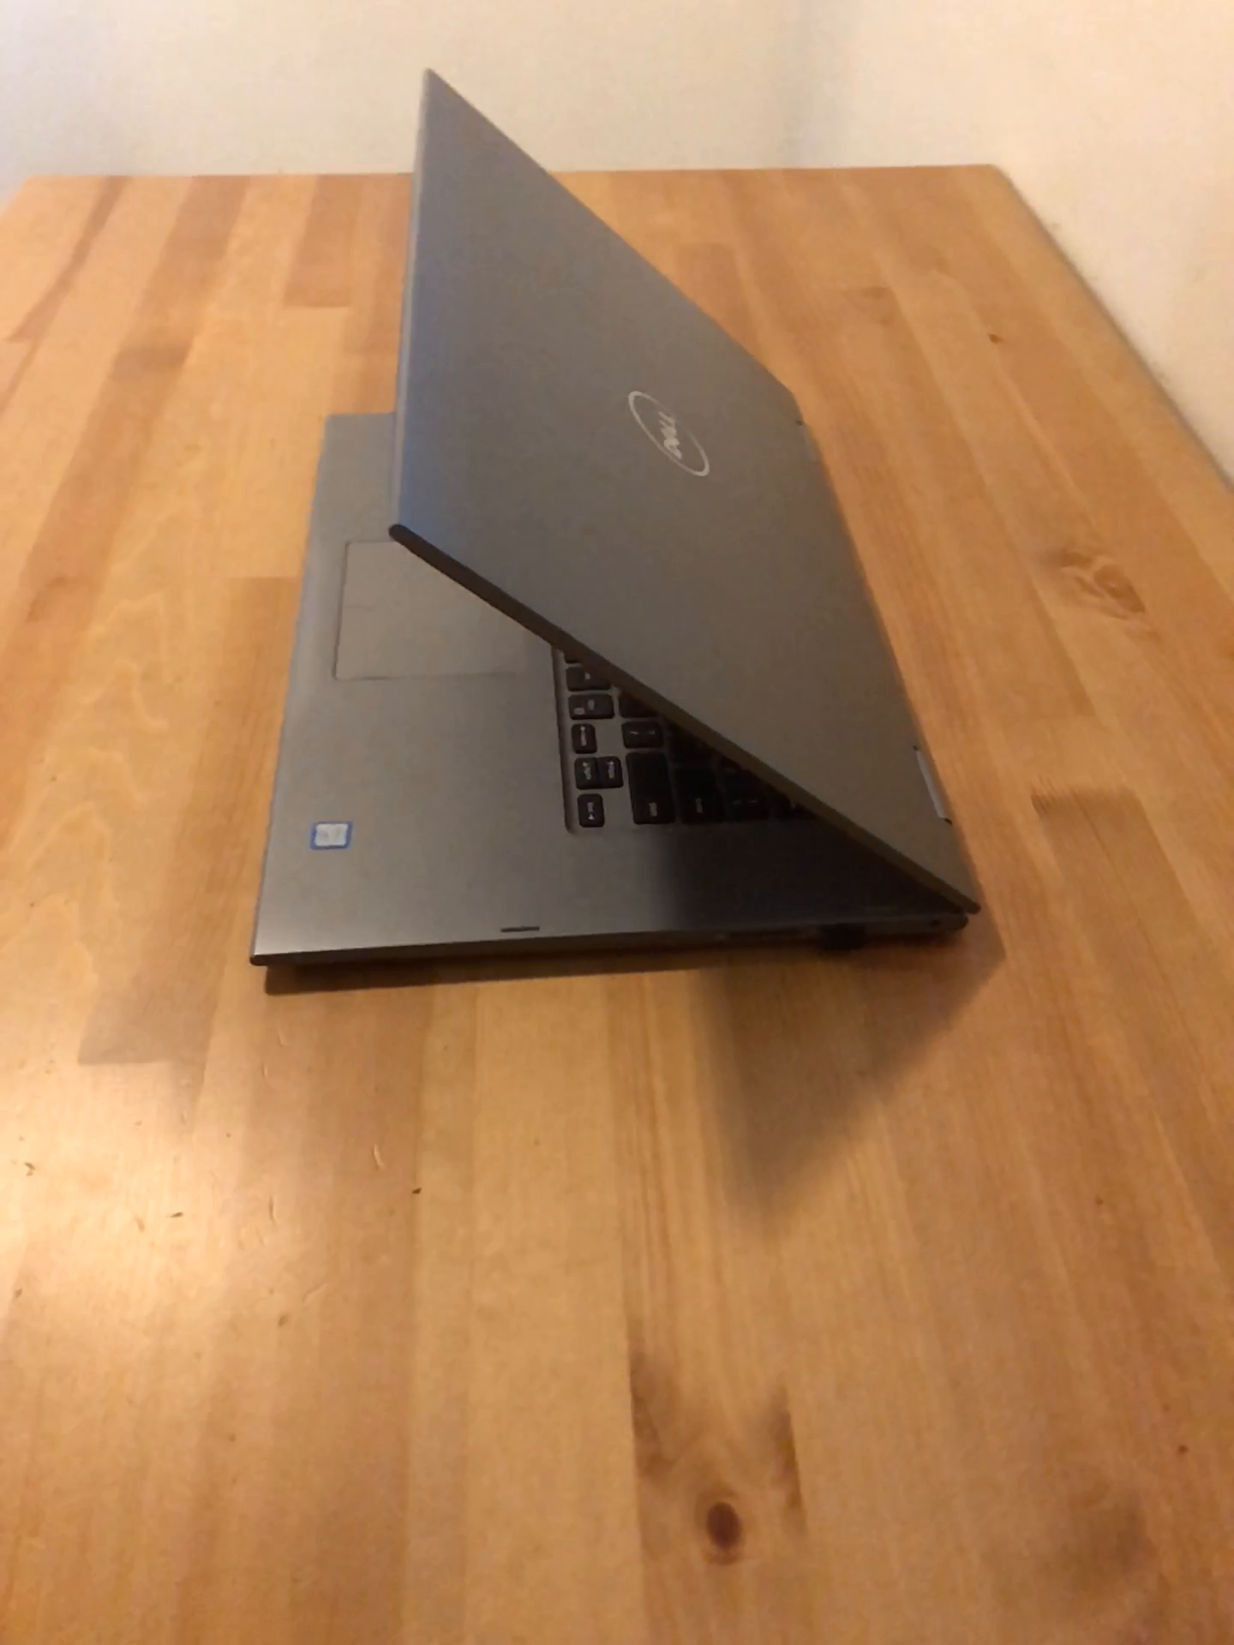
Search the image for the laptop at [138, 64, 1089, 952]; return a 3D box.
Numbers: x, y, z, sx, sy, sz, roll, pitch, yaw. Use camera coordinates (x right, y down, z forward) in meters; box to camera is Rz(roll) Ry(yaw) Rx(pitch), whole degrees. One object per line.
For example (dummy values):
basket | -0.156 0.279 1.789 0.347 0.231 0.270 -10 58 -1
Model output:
laptop | -0.016 -0.153 0.543 0.246 0.165 0.377 -3 44 -4
